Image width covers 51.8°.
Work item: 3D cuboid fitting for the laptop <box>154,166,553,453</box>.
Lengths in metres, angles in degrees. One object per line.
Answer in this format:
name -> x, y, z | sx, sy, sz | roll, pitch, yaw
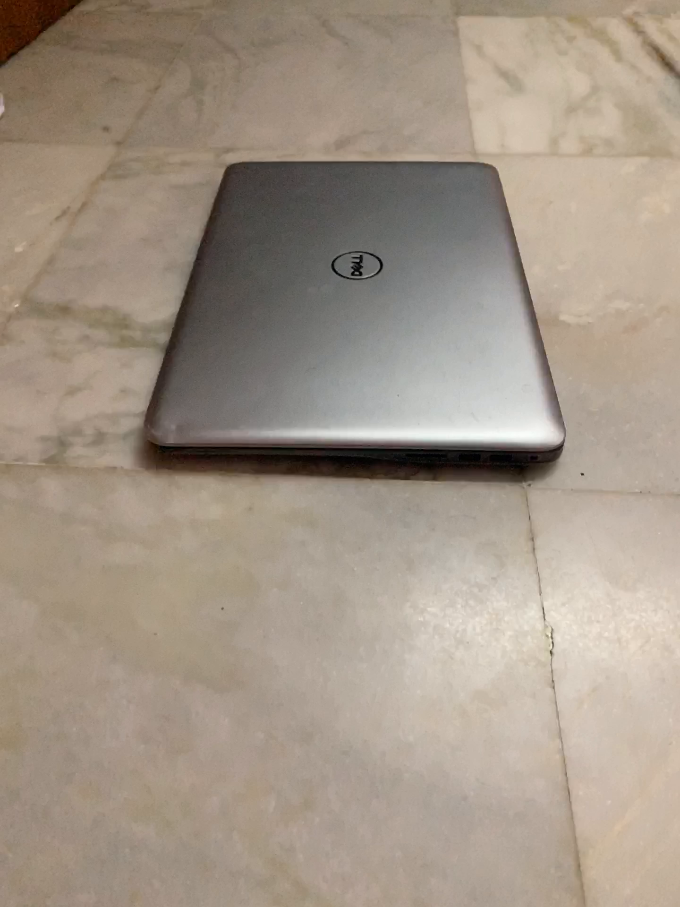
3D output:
laptop -> 0.013, -0.133, 0.529 | 0.234, 0.001, 0.352 | 1, 48, 2
